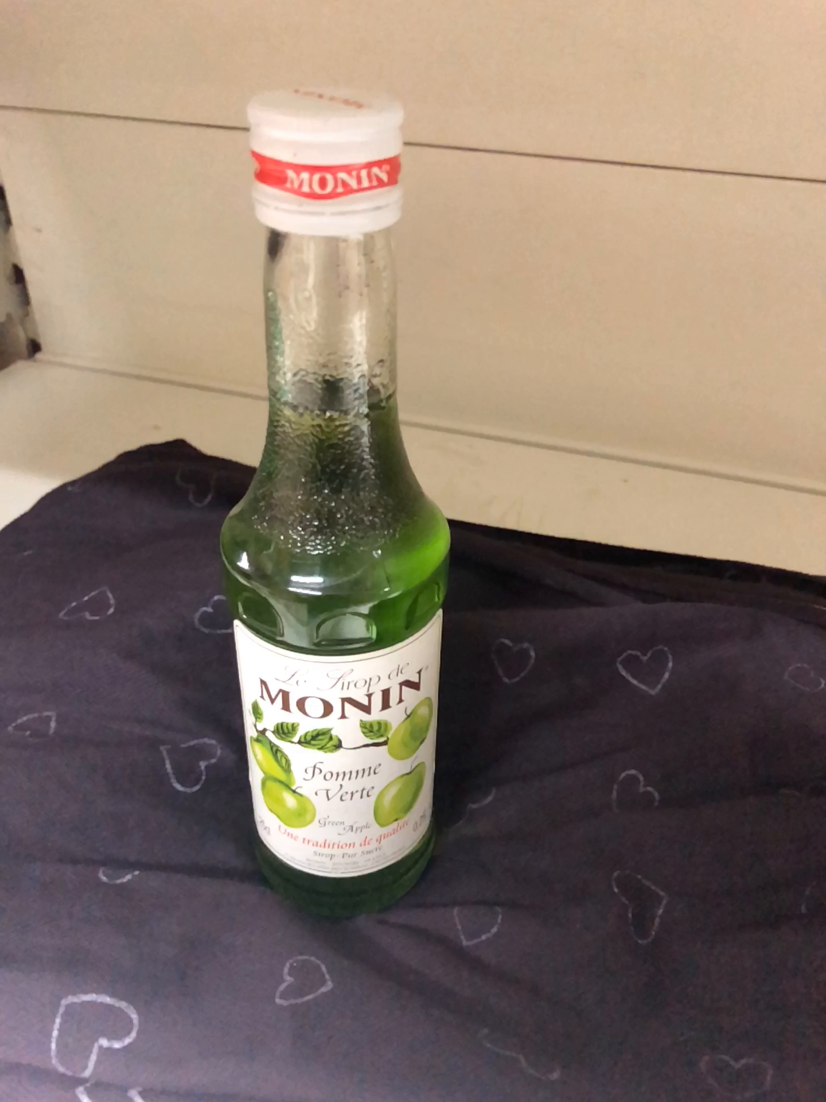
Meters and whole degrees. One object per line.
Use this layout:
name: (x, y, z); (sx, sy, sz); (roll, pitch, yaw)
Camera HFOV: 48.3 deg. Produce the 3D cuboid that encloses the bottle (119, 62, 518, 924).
bottle: (-0.017, 0.000, 0.219); (0.060, 0.199, 0.060); (1, 33, -1)
